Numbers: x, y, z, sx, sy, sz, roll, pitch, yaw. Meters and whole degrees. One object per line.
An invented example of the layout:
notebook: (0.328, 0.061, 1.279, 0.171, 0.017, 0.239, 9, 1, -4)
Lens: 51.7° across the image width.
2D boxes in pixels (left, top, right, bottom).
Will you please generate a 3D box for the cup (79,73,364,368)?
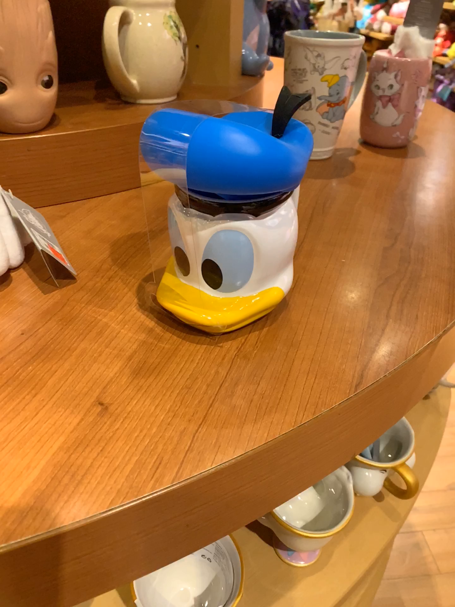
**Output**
cup: (0.003, -0.068, 0.330, 0.105, 0.132, 0.150, 26, 46, 29)
